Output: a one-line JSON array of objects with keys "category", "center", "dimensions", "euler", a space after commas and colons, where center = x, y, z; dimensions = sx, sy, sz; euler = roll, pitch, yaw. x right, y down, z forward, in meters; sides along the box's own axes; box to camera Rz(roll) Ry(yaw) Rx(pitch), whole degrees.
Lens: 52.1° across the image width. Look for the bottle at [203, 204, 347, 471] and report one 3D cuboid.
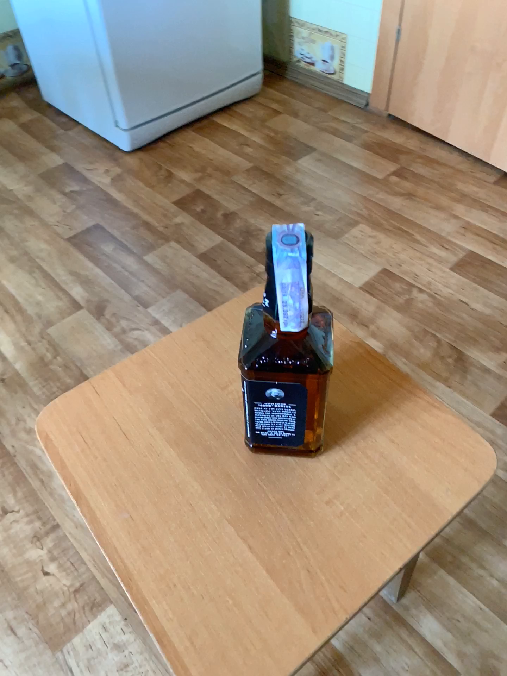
[{"category": "bottle", "center": [0.019, 0.012, 0.392], "dimensions": [0.080, 0.209, 0.080], "euler": [-1, 49, 2]}]
